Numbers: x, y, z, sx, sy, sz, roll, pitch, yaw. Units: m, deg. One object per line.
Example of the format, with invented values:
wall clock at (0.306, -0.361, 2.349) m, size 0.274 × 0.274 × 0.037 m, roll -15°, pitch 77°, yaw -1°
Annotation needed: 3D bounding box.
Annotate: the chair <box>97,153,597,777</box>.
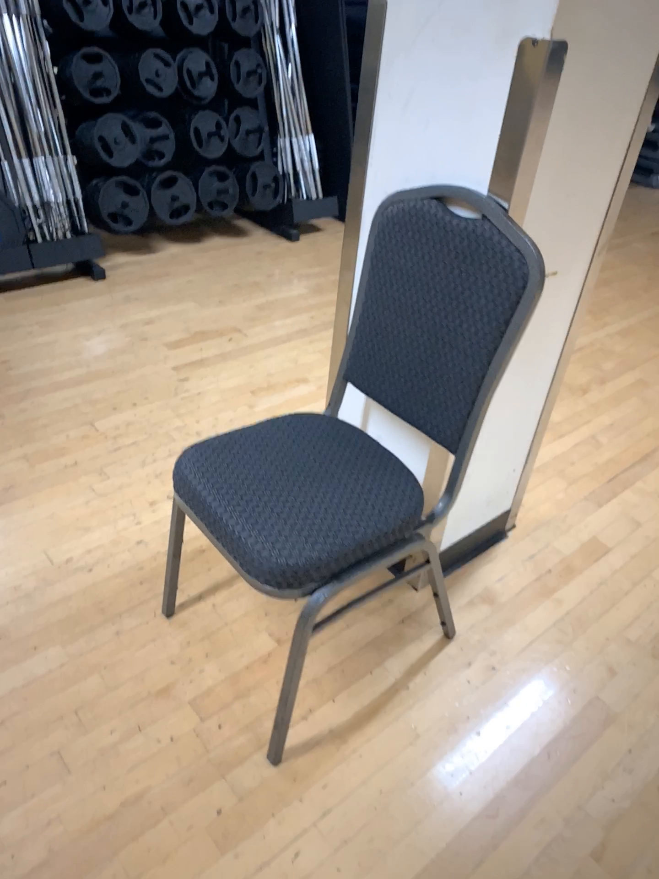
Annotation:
chair at (-0.009, 0.030, 1.238) m, size 0.566 × 0.908 × 0.466 m, roll -22°, pitch 44°, yaw -34°
